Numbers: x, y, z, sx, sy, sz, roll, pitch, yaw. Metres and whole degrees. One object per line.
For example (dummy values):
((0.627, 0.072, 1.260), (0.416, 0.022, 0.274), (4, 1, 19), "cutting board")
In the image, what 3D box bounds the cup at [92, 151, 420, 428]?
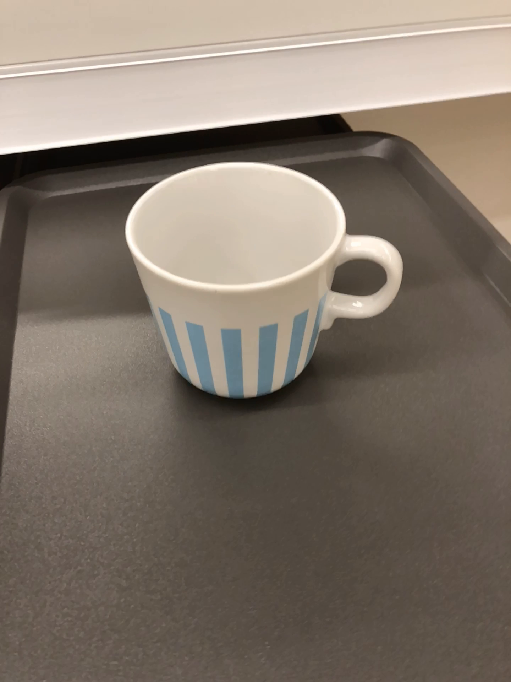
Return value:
((0.005, -0.026, 0.246), (0.110, 0.070, 0.090), (5, 43, 6), "cup")
